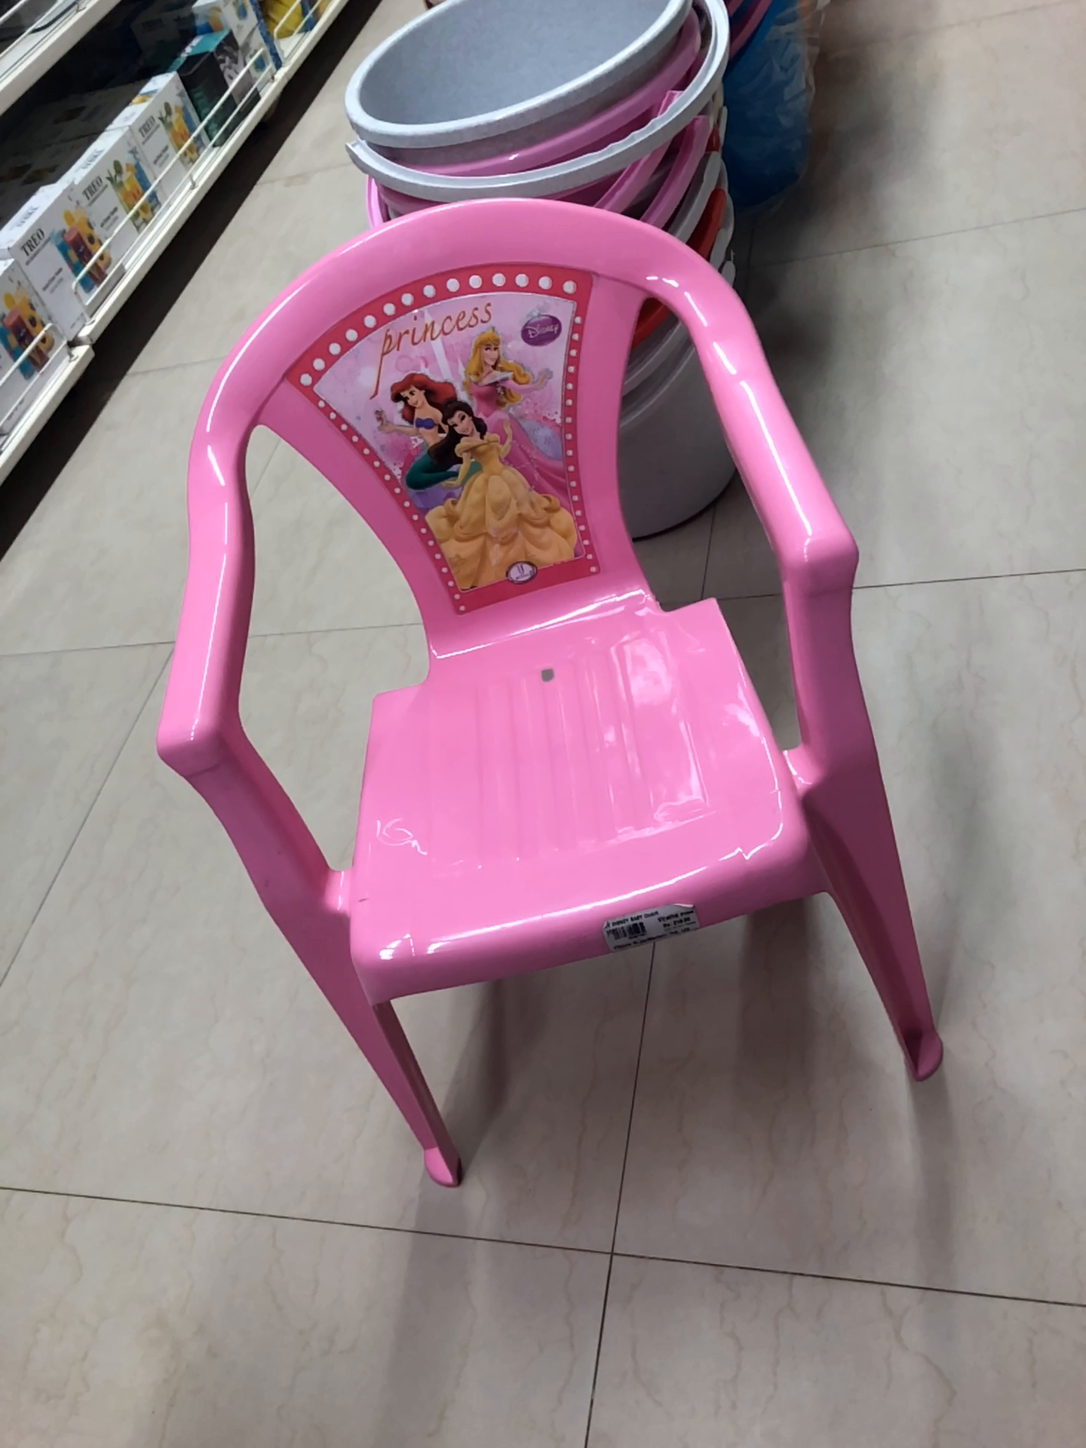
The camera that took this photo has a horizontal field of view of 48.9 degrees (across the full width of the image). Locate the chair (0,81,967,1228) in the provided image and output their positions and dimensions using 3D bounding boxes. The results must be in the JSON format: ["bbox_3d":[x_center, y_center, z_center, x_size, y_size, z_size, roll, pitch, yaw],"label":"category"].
[{"bbox_3d":[-0.010,-0.007,0.699,0.370,0.477,0.352,-17,45,8],"label":"chair"}]
